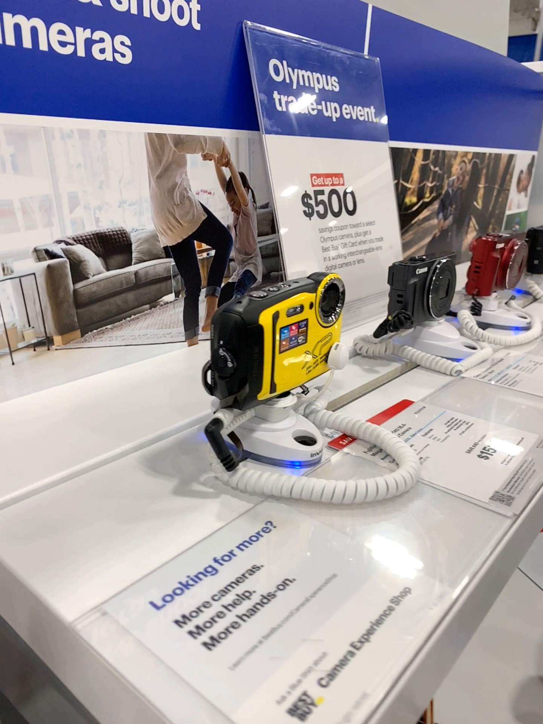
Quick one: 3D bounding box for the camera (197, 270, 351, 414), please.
[{"bbox_3d":[0.006,-0.017,0.345,0.030,0.060,0.110,16,25,36],"label":"camera"}]
